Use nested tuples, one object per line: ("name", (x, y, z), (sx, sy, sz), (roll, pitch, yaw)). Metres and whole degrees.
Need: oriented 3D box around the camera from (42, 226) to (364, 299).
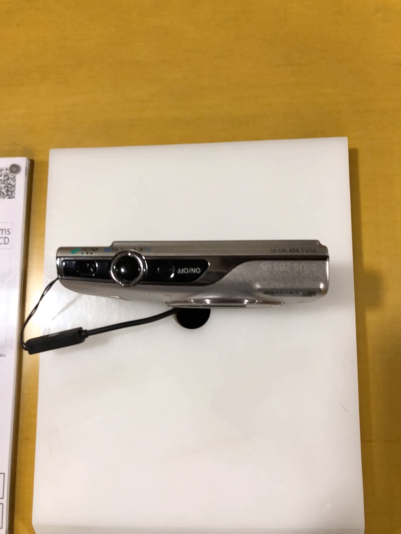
("camera", (0.002, 0.001, 0.184), (0.110, 0.060, 0.020), (-1, 82, 4))
